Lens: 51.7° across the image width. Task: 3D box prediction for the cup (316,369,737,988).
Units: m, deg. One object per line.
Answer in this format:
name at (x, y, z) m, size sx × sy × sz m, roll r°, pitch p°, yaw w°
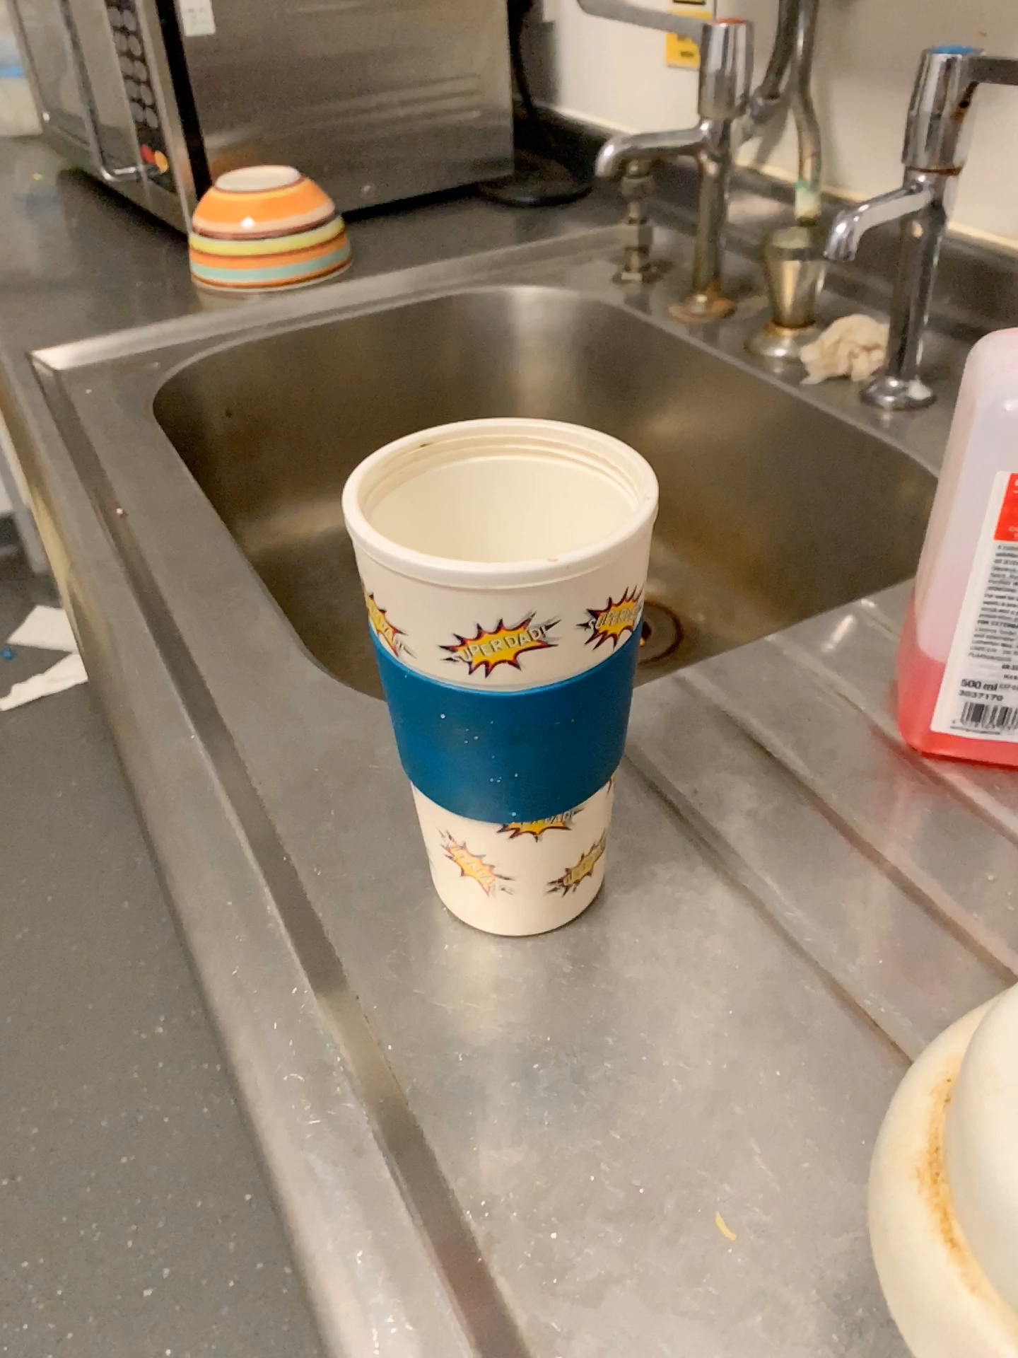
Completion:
cup at (0.004, 0.001, 0.351) m, size 0.092 × 0.167 × 0.090 m, roll -2°, pitch 37°, yaw 1°
